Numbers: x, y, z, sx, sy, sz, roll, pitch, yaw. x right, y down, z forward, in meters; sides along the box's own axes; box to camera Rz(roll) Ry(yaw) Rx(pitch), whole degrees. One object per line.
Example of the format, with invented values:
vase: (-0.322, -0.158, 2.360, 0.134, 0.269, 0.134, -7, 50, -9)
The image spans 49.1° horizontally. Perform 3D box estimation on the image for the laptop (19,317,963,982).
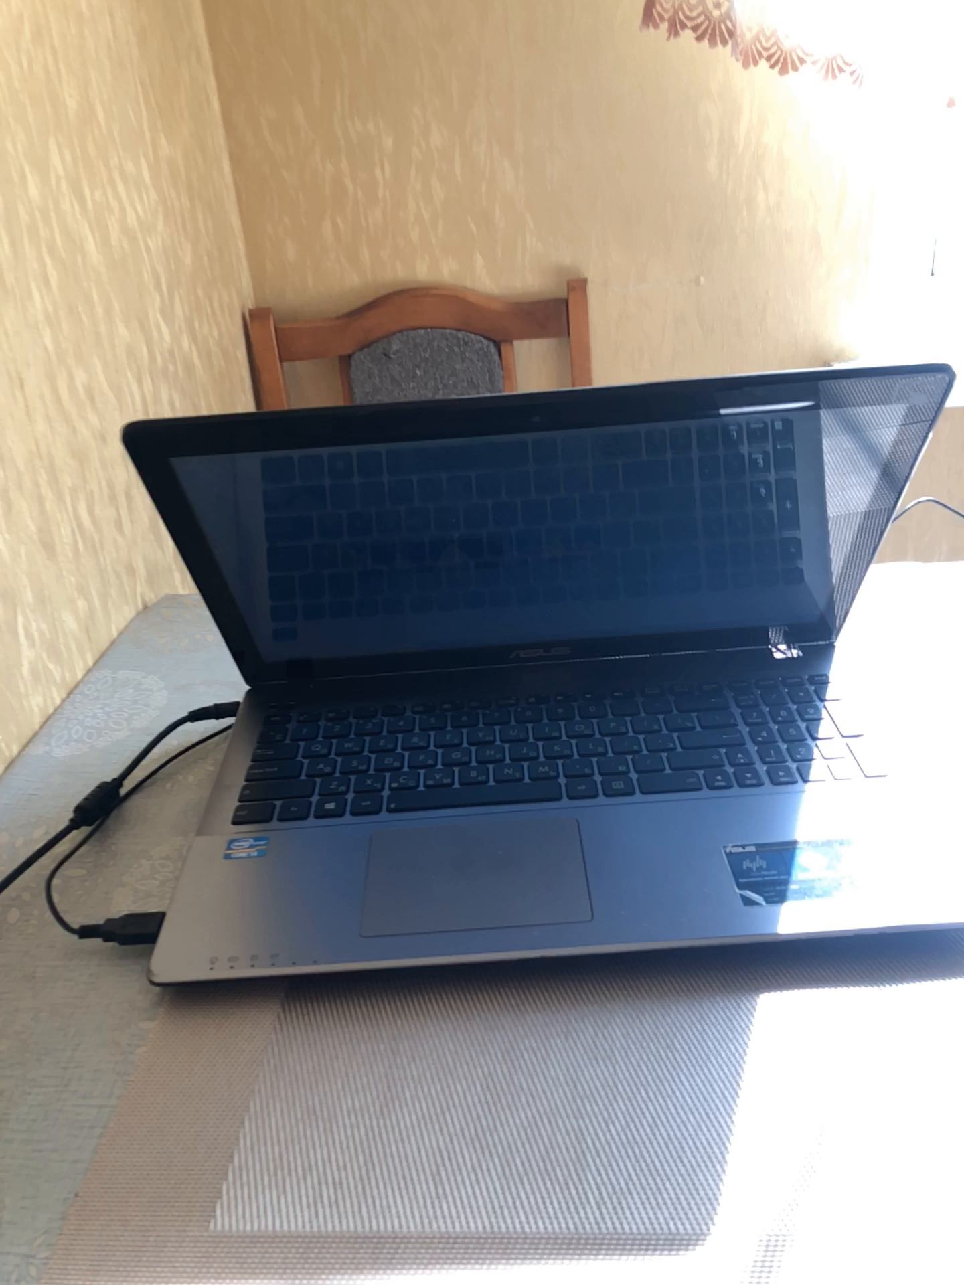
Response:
laptop: (0.031, -0.016, 0.509, 0.369, 0.196, 0.244, -5, 27, 1)
